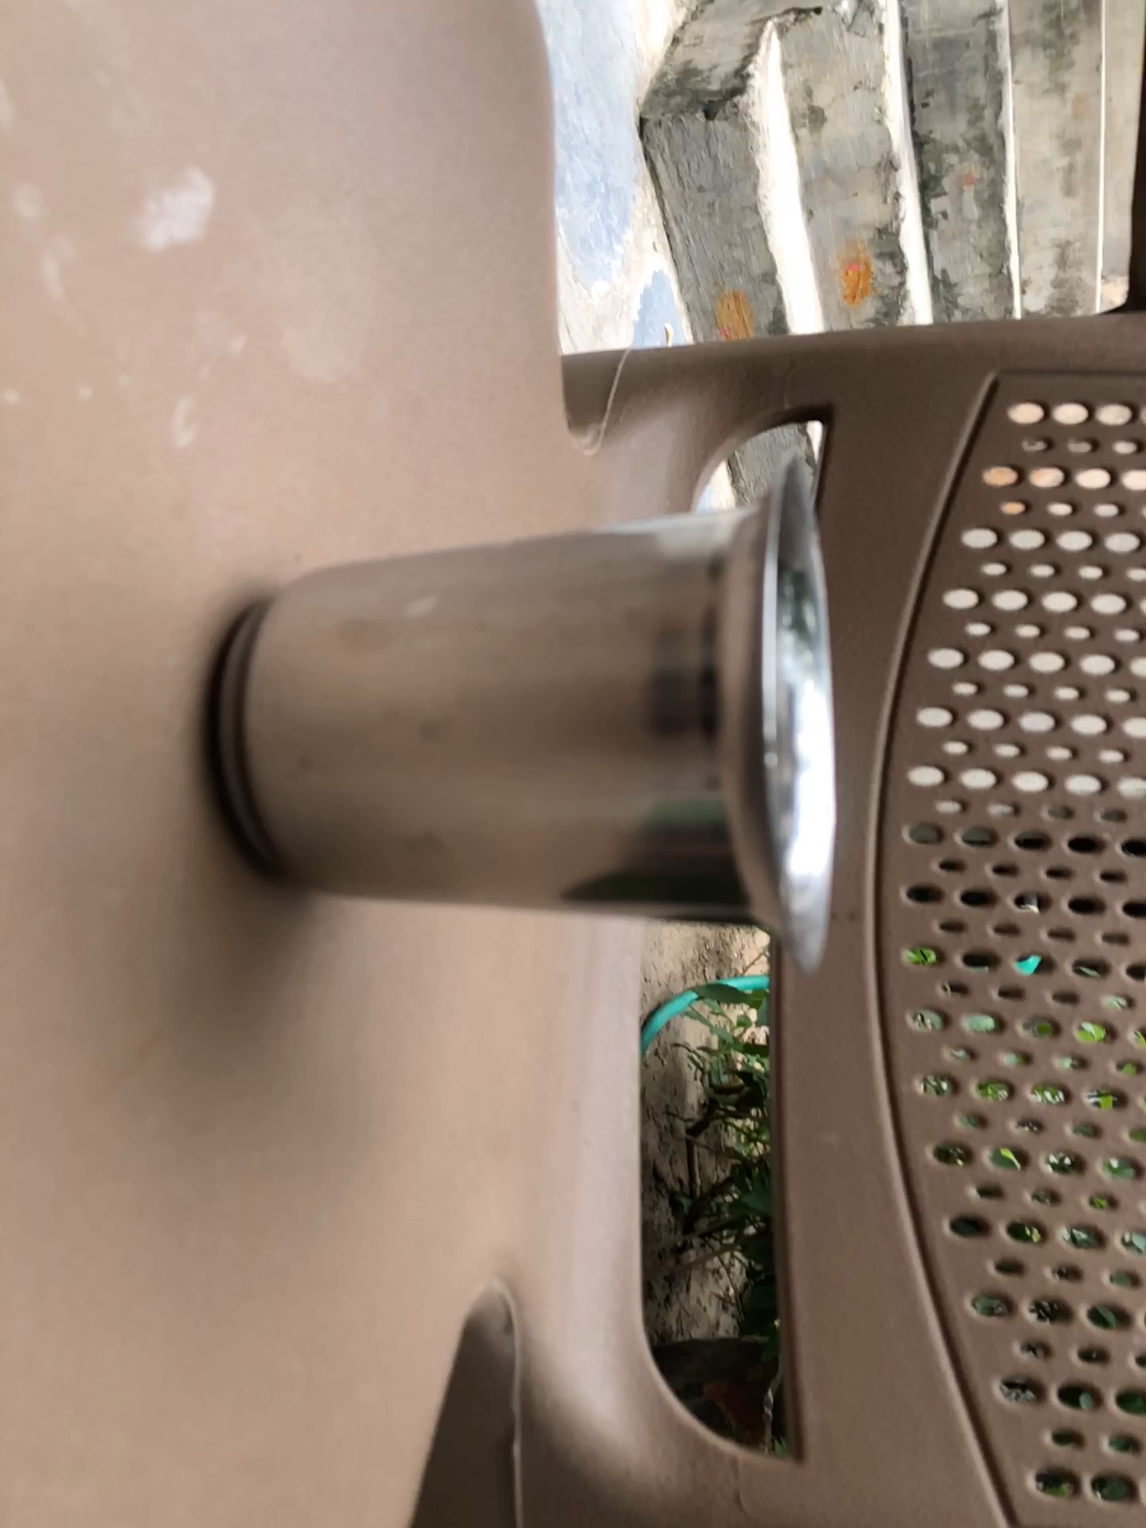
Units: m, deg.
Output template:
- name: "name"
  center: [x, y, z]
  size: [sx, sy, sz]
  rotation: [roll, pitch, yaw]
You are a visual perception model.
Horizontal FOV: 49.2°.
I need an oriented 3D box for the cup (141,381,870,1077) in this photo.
- name: "cup"
  center: [-0.001, -0.008, 0.223]
  size: [0.080, 0.089, 0.090]
  rotation: [-57, 139, -57]
